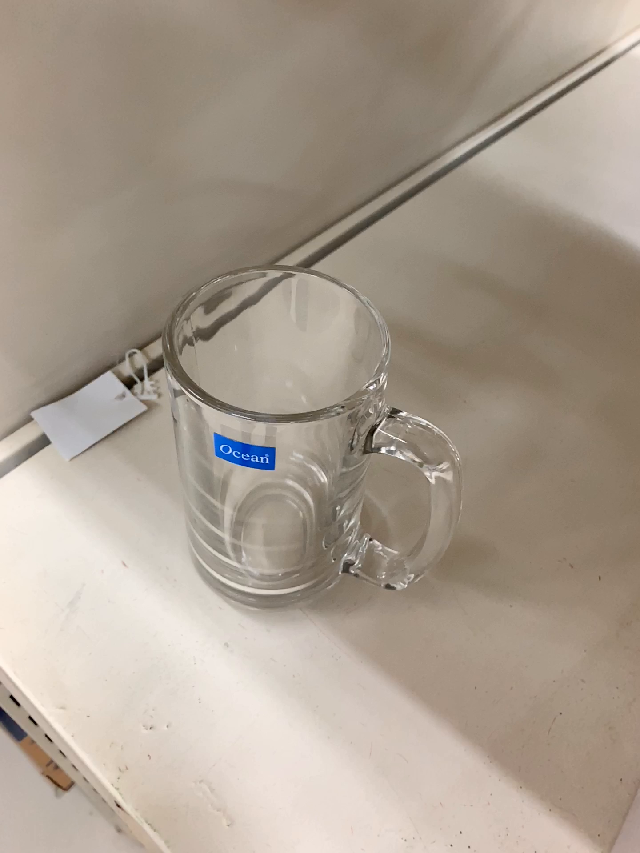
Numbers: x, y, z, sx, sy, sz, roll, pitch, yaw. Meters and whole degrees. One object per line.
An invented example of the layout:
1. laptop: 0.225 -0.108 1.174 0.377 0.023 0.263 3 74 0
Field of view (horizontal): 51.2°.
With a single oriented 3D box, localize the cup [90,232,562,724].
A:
1. cup: -0.001 0.022 0.253 0.120 0.129 0.080 28 54 19
